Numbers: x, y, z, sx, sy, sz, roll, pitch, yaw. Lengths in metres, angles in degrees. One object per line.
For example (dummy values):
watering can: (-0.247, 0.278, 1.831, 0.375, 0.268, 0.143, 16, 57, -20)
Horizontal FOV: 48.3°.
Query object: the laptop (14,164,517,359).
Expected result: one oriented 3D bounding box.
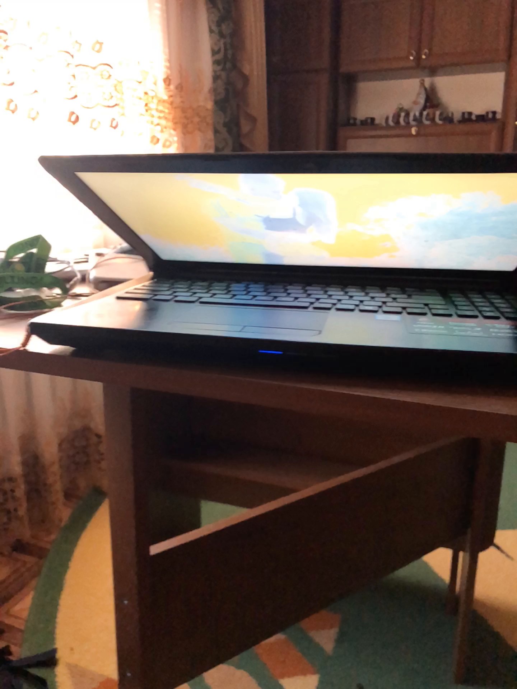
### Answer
laptop: (0.047, -0.081, 0.441, 0.372, 0.095, 0.239, 3, 16, 13)
